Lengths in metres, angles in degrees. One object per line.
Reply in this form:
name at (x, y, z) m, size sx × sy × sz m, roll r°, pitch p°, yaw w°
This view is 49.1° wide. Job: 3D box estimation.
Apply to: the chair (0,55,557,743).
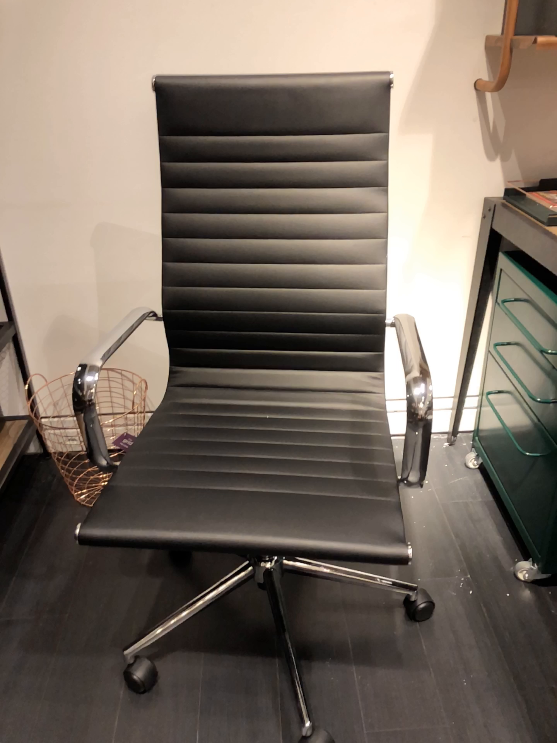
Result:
chair at (-0.006, 0.050, 1.087) m, size 0.680 × 1.052 × 0.665 m, roll 1°, pitch 29°, yaw 6°
